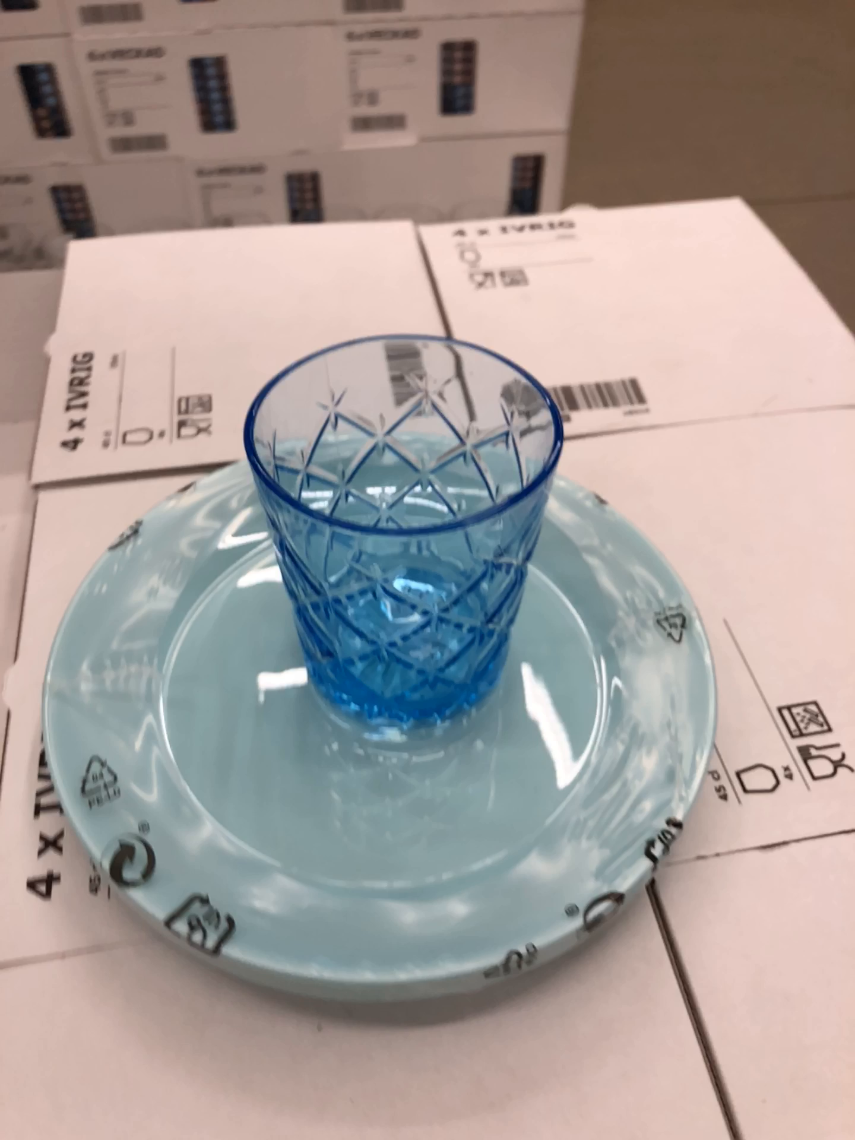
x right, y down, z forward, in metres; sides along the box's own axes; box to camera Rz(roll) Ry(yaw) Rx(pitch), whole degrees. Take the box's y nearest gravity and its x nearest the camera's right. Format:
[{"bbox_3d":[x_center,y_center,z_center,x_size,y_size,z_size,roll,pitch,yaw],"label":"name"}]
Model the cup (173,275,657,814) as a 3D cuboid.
[{"bbox_3d":[-0.005,-0.009,0.284,0.090,0.100,0.090,0,47,0],"label":"cup"}]
